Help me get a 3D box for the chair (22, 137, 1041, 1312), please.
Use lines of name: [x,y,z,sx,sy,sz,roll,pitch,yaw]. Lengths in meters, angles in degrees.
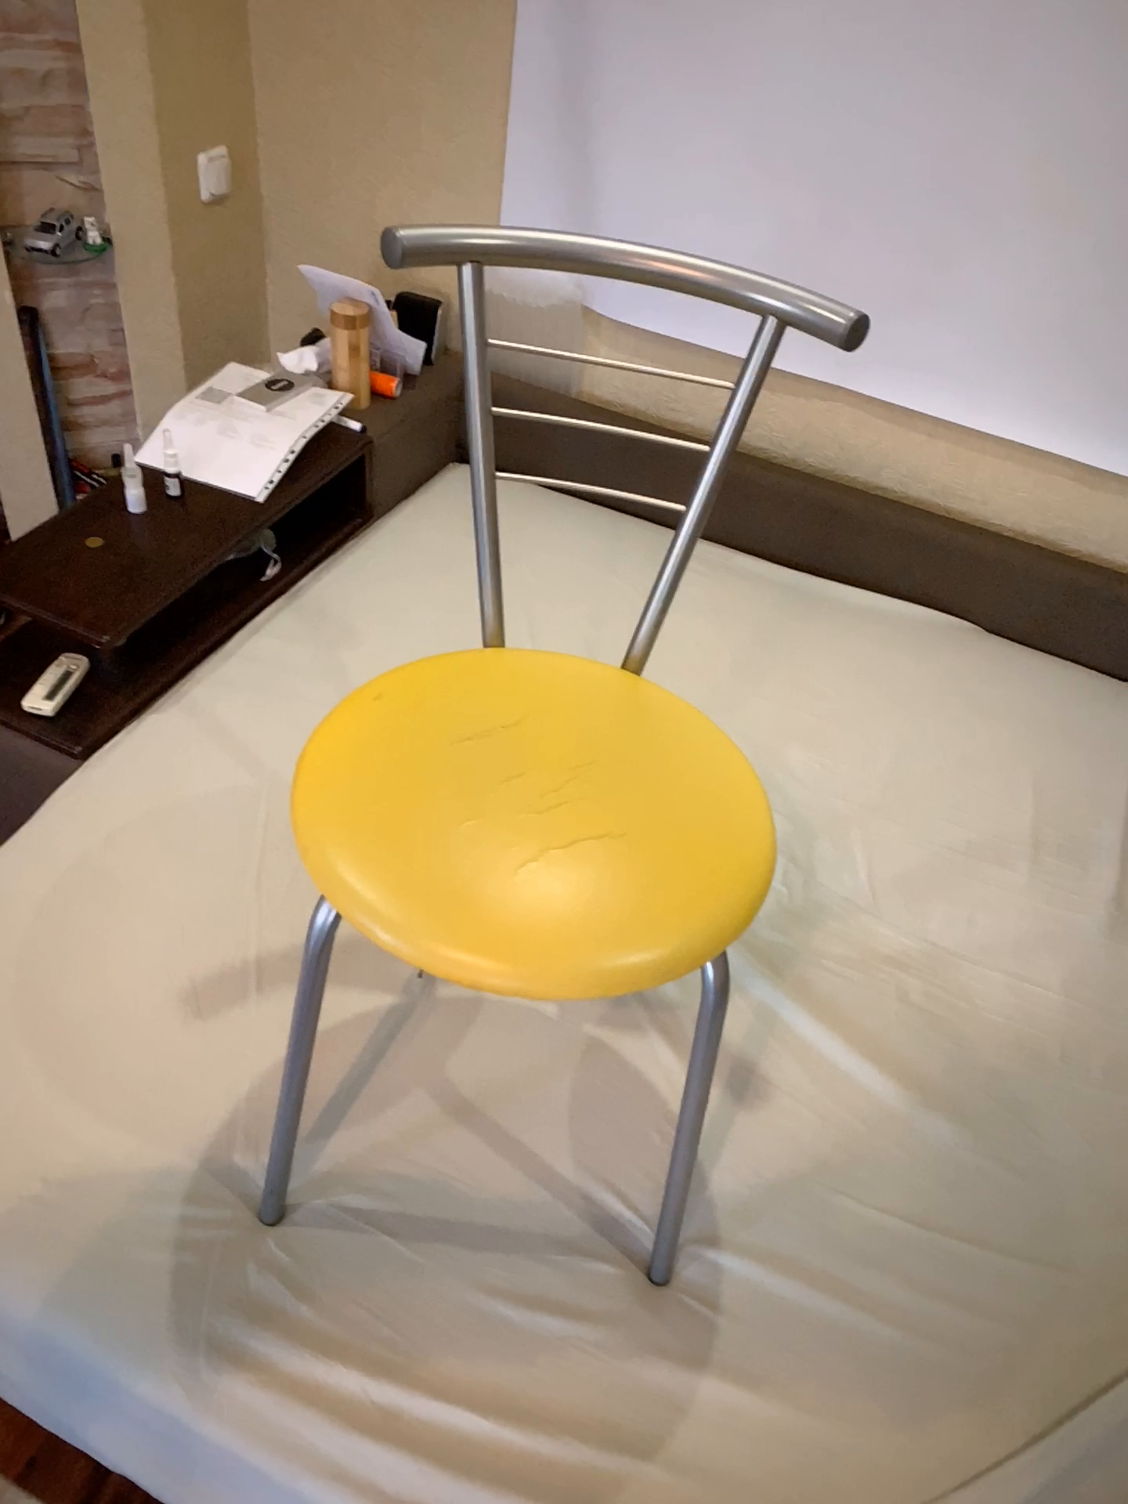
chair: [-0.030,0.007,0.953,0.460,0.763,0.505,9,41,1]
